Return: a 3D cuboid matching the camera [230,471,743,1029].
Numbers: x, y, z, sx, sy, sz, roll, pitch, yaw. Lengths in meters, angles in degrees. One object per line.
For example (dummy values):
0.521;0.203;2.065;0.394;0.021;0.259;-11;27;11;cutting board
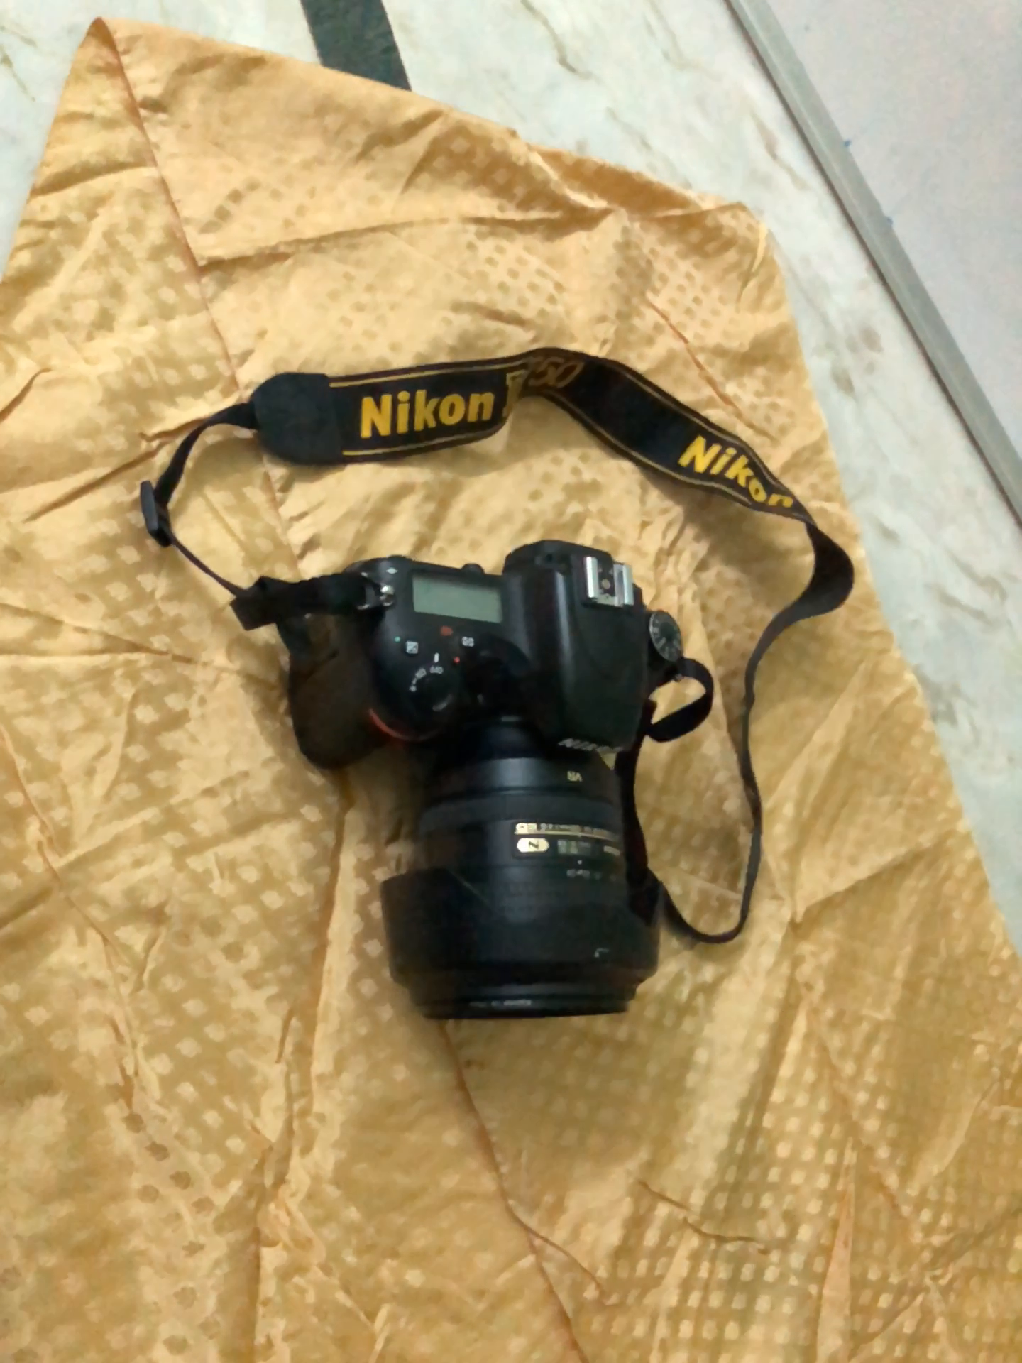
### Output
-0.014;0.034;0.426;0.149;0.110;0.170;6;75;-30;camera
